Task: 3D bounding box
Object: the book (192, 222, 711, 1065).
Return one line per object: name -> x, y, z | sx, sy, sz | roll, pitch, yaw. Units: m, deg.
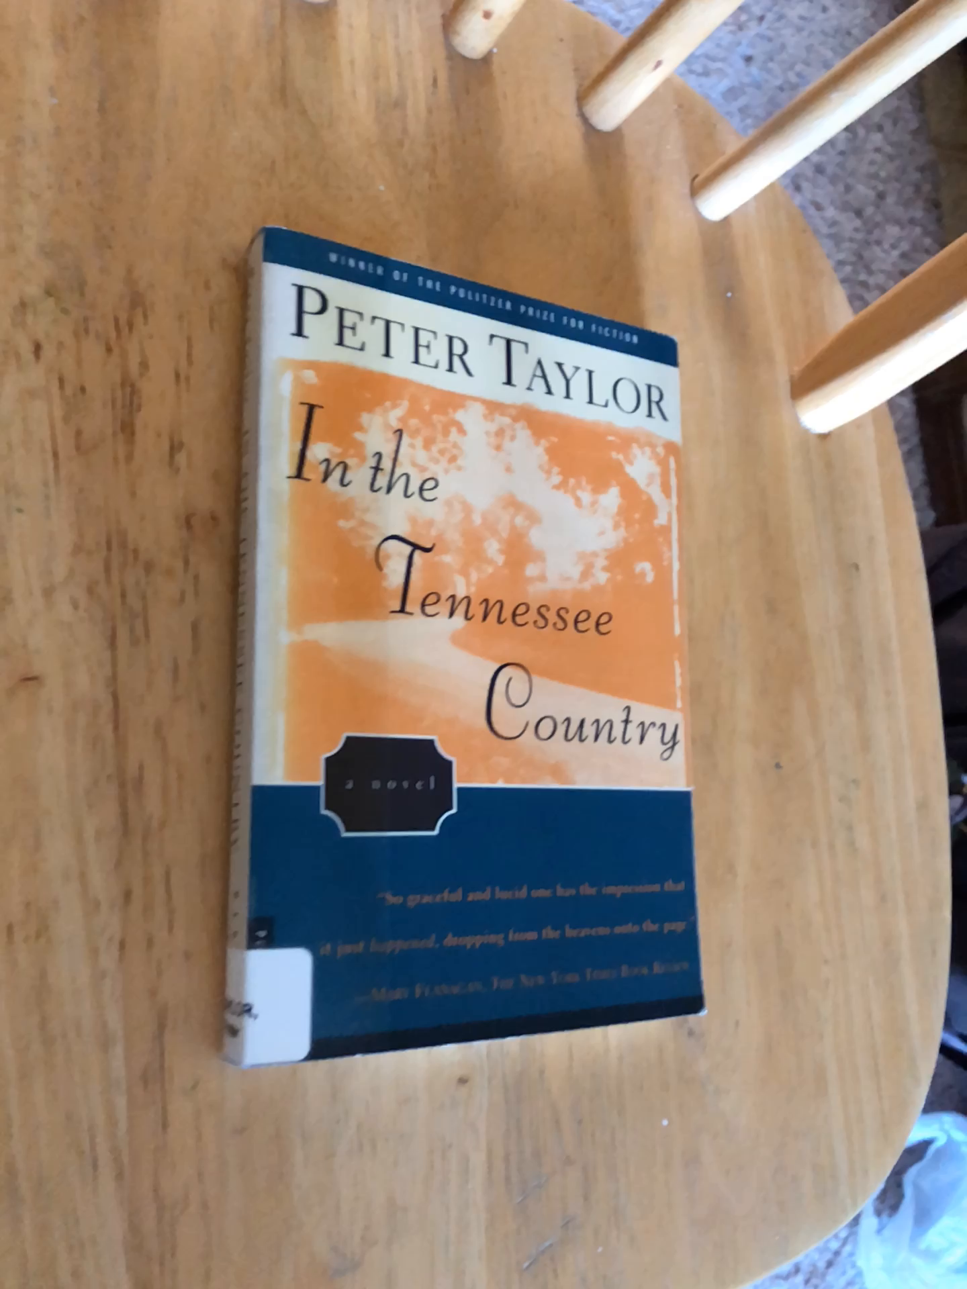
book -> -0.003, 0.000, 0.293 | 0.137, 0.025, 0.200 | 6, 78, -29
